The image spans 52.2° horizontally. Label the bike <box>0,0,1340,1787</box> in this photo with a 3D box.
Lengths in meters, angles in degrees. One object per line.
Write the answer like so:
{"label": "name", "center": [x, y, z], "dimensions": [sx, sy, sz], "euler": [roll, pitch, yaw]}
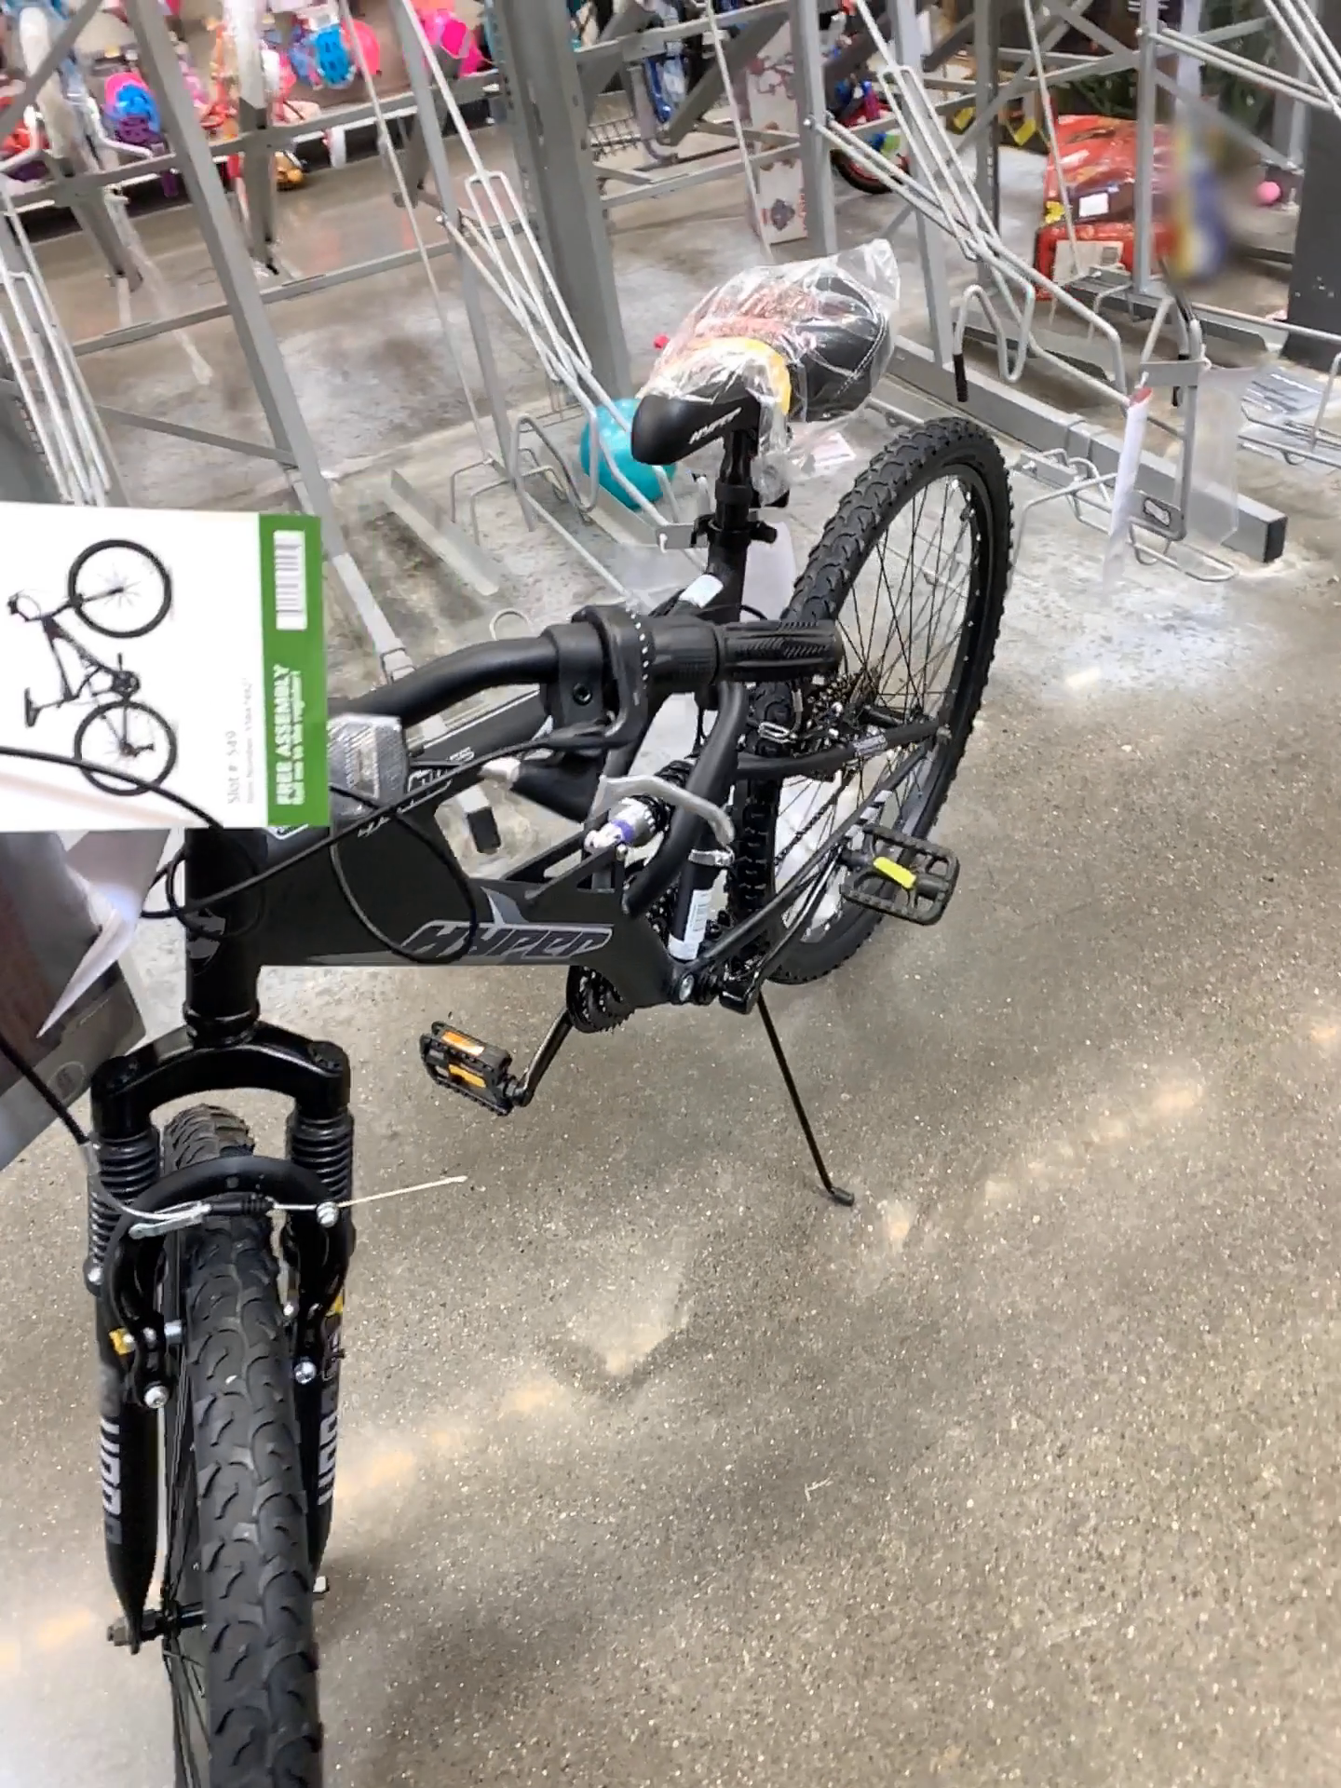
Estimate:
{"label": "bike", "center": [0.181, -0.003, 1.169], "dimensions": [0.691, 1.089, 1.687], "euler": [7, 44, 23]}
